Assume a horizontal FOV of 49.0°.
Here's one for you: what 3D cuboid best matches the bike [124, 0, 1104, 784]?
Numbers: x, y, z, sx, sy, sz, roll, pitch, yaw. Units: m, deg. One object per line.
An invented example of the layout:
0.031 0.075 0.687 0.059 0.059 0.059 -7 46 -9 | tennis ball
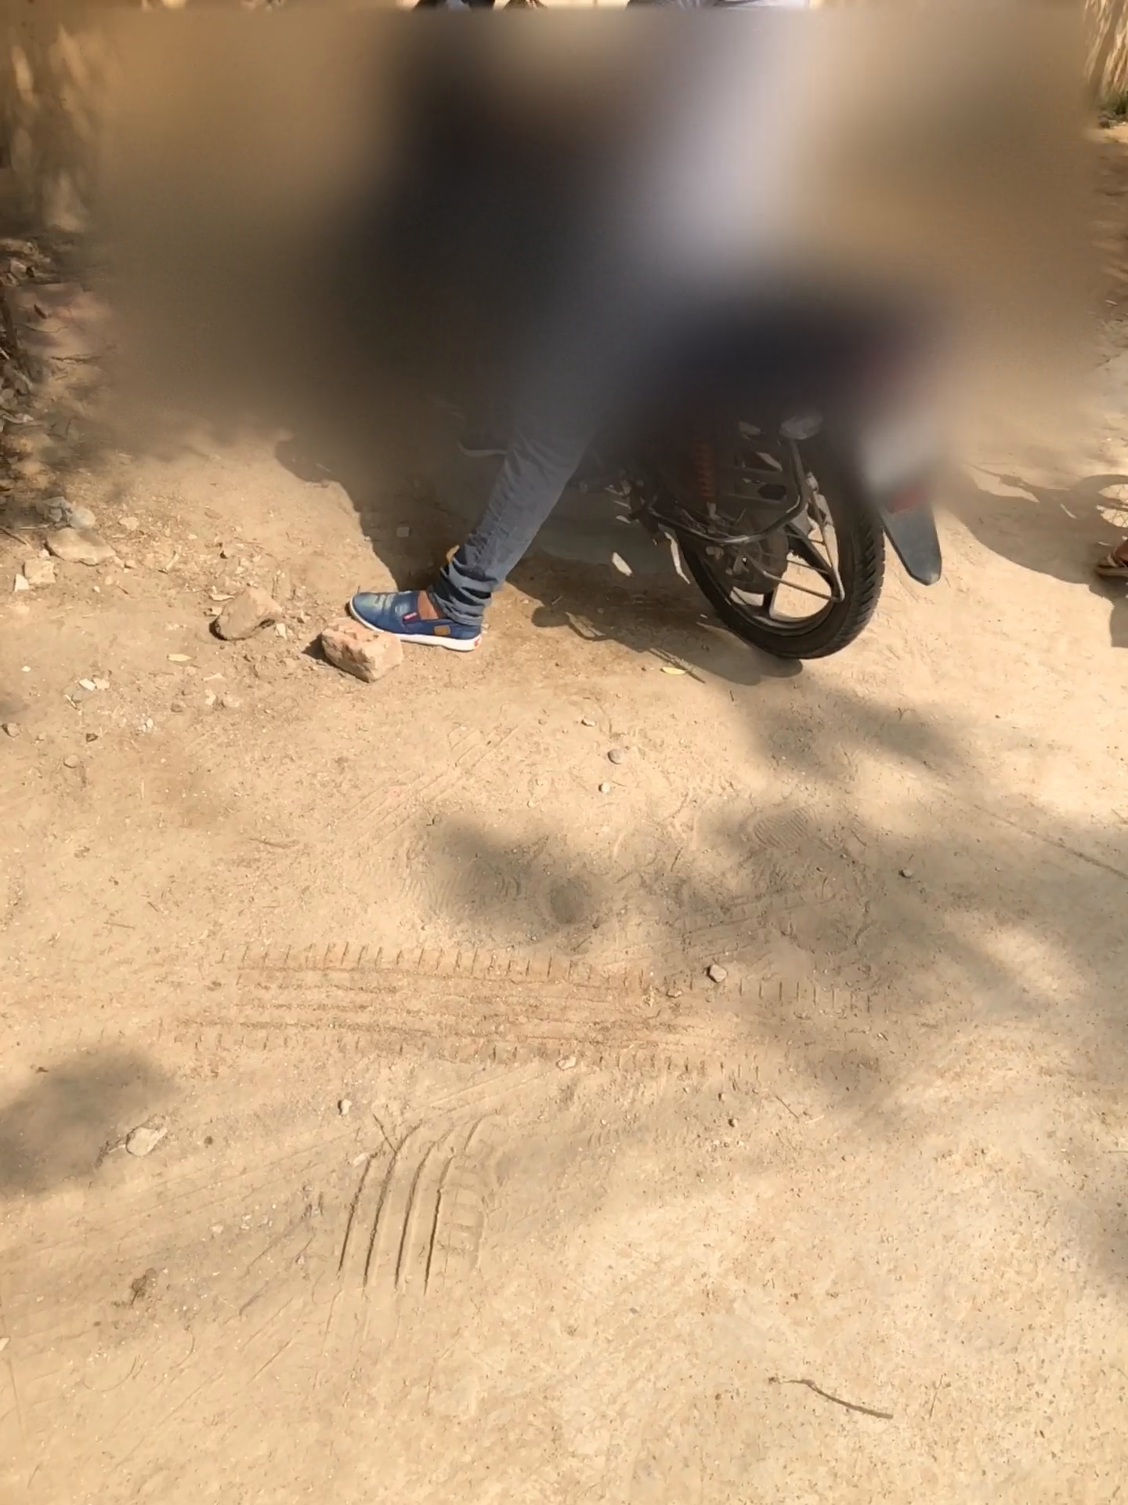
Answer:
-0.069 -1.037 2.596 0.743 1.241 1.787 -24 47 -34 | bike
